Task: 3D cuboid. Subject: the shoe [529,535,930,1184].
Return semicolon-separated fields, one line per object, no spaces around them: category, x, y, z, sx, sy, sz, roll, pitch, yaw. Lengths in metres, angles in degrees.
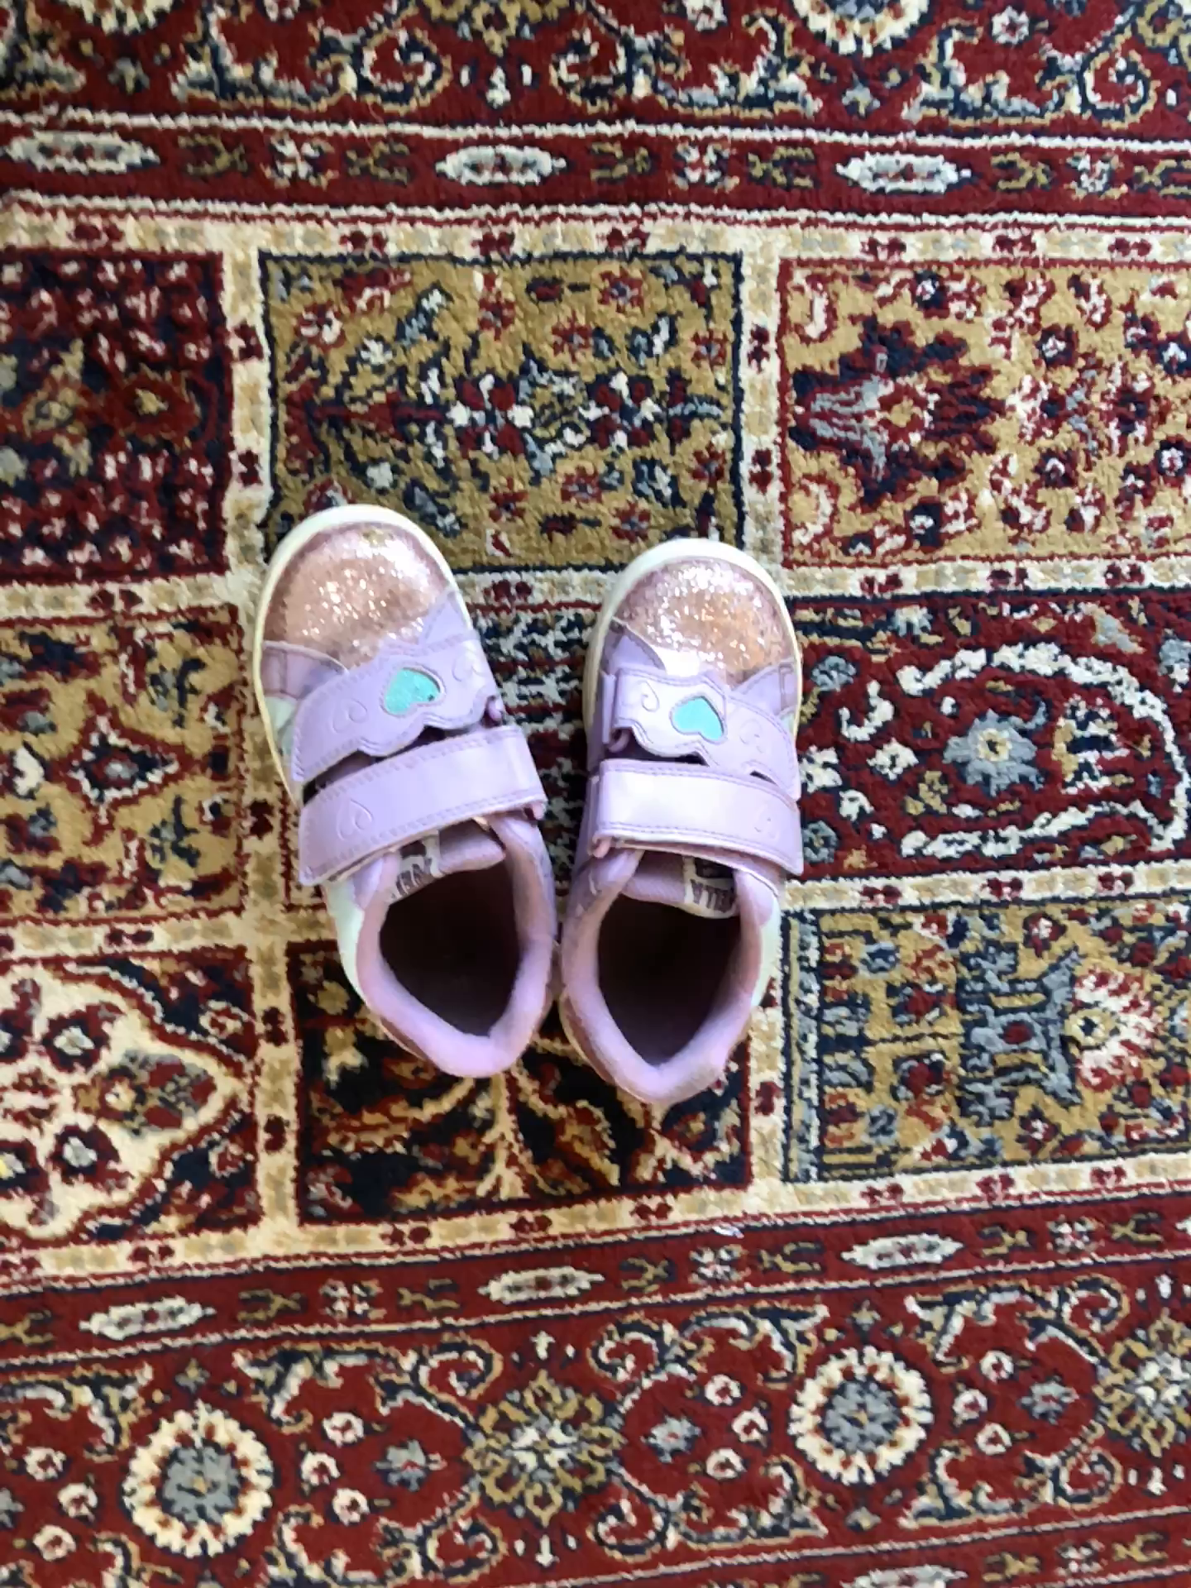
shoe;0.040;0.020;0.461;0.100;0.090;0.200;5;96;-8

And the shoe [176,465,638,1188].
shoe;-0.060;0.008;0.449;0.090;0.090;0.208;-15;98;-5
